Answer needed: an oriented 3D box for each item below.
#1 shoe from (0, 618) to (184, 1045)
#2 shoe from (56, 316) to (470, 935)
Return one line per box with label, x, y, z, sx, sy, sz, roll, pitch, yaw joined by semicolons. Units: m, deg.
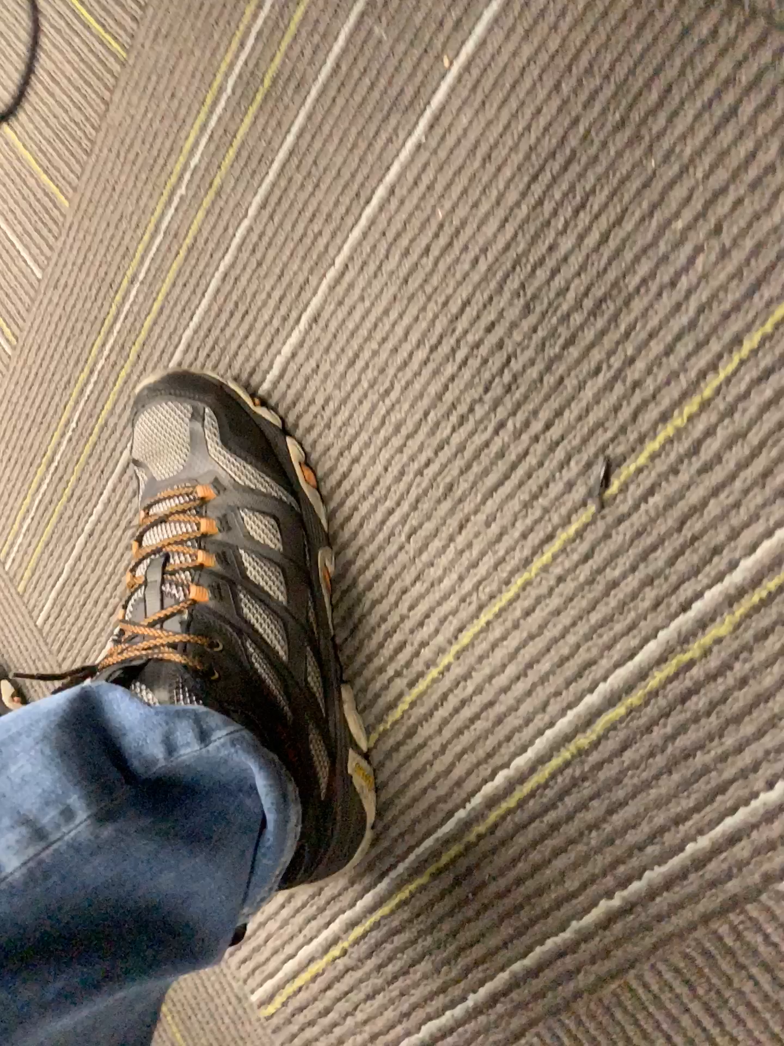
shoe;-0.320;0.256;0.679;0.126;0.095;0.323;-47;69;31
shoe;-0.080;0.058;0.476;0.123;0.095;0.322;-23;82;36
